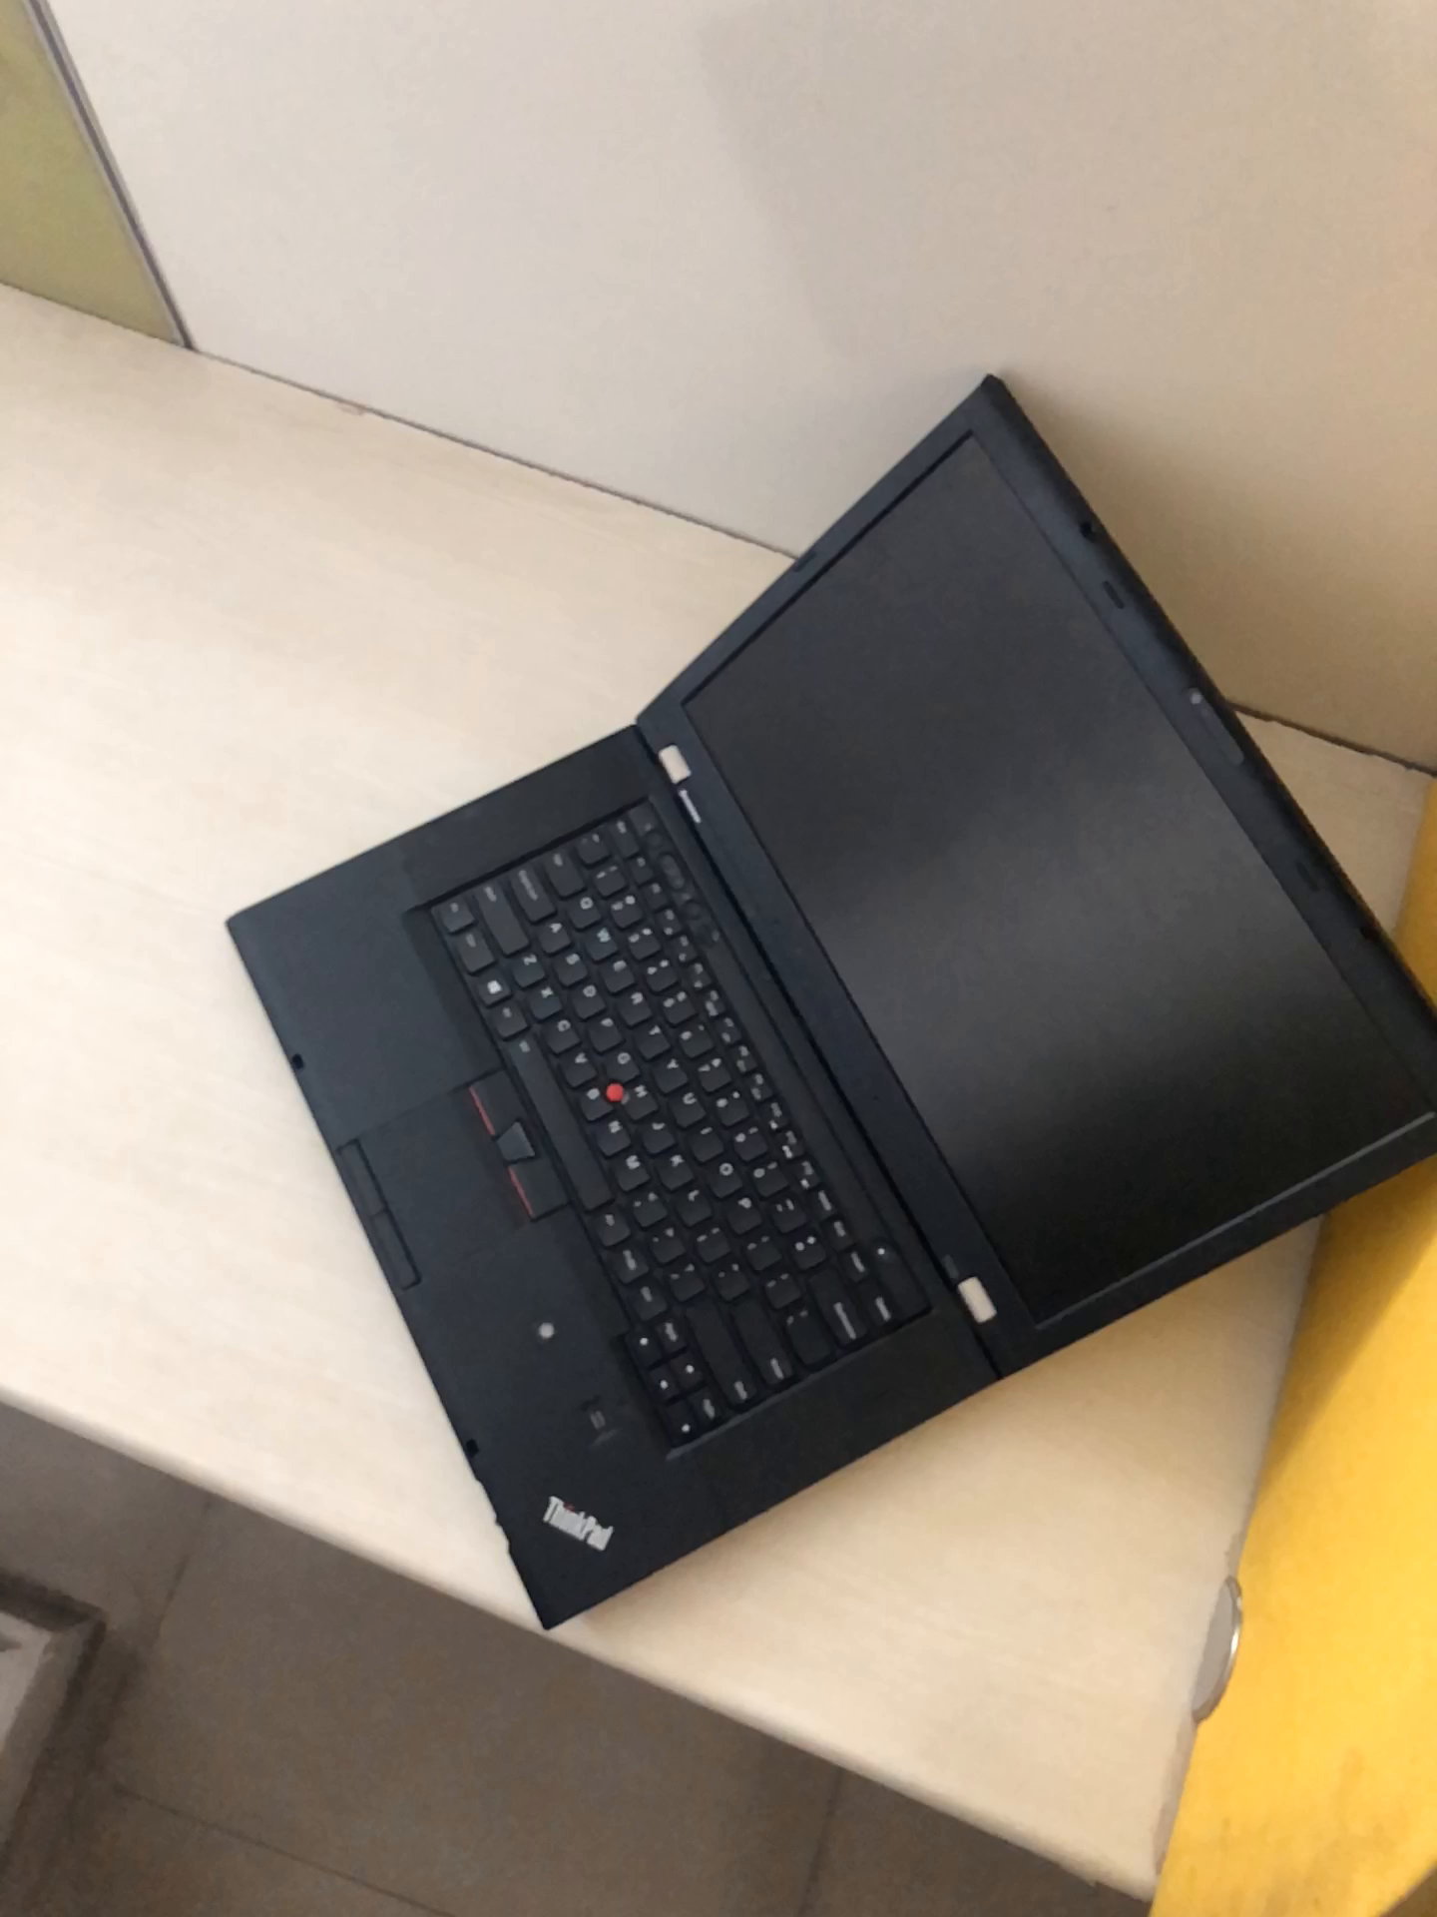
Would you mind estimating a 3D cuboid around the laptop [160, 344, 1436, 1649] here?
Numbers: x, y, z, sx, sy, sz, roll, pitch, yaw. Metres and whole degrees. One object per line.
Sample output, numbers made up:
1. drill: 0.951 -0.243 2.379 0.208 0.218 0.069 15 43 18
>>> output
1. laptop: 0.034 0.011 0.686 0.418 0.144 0.353 -28 76 -5
